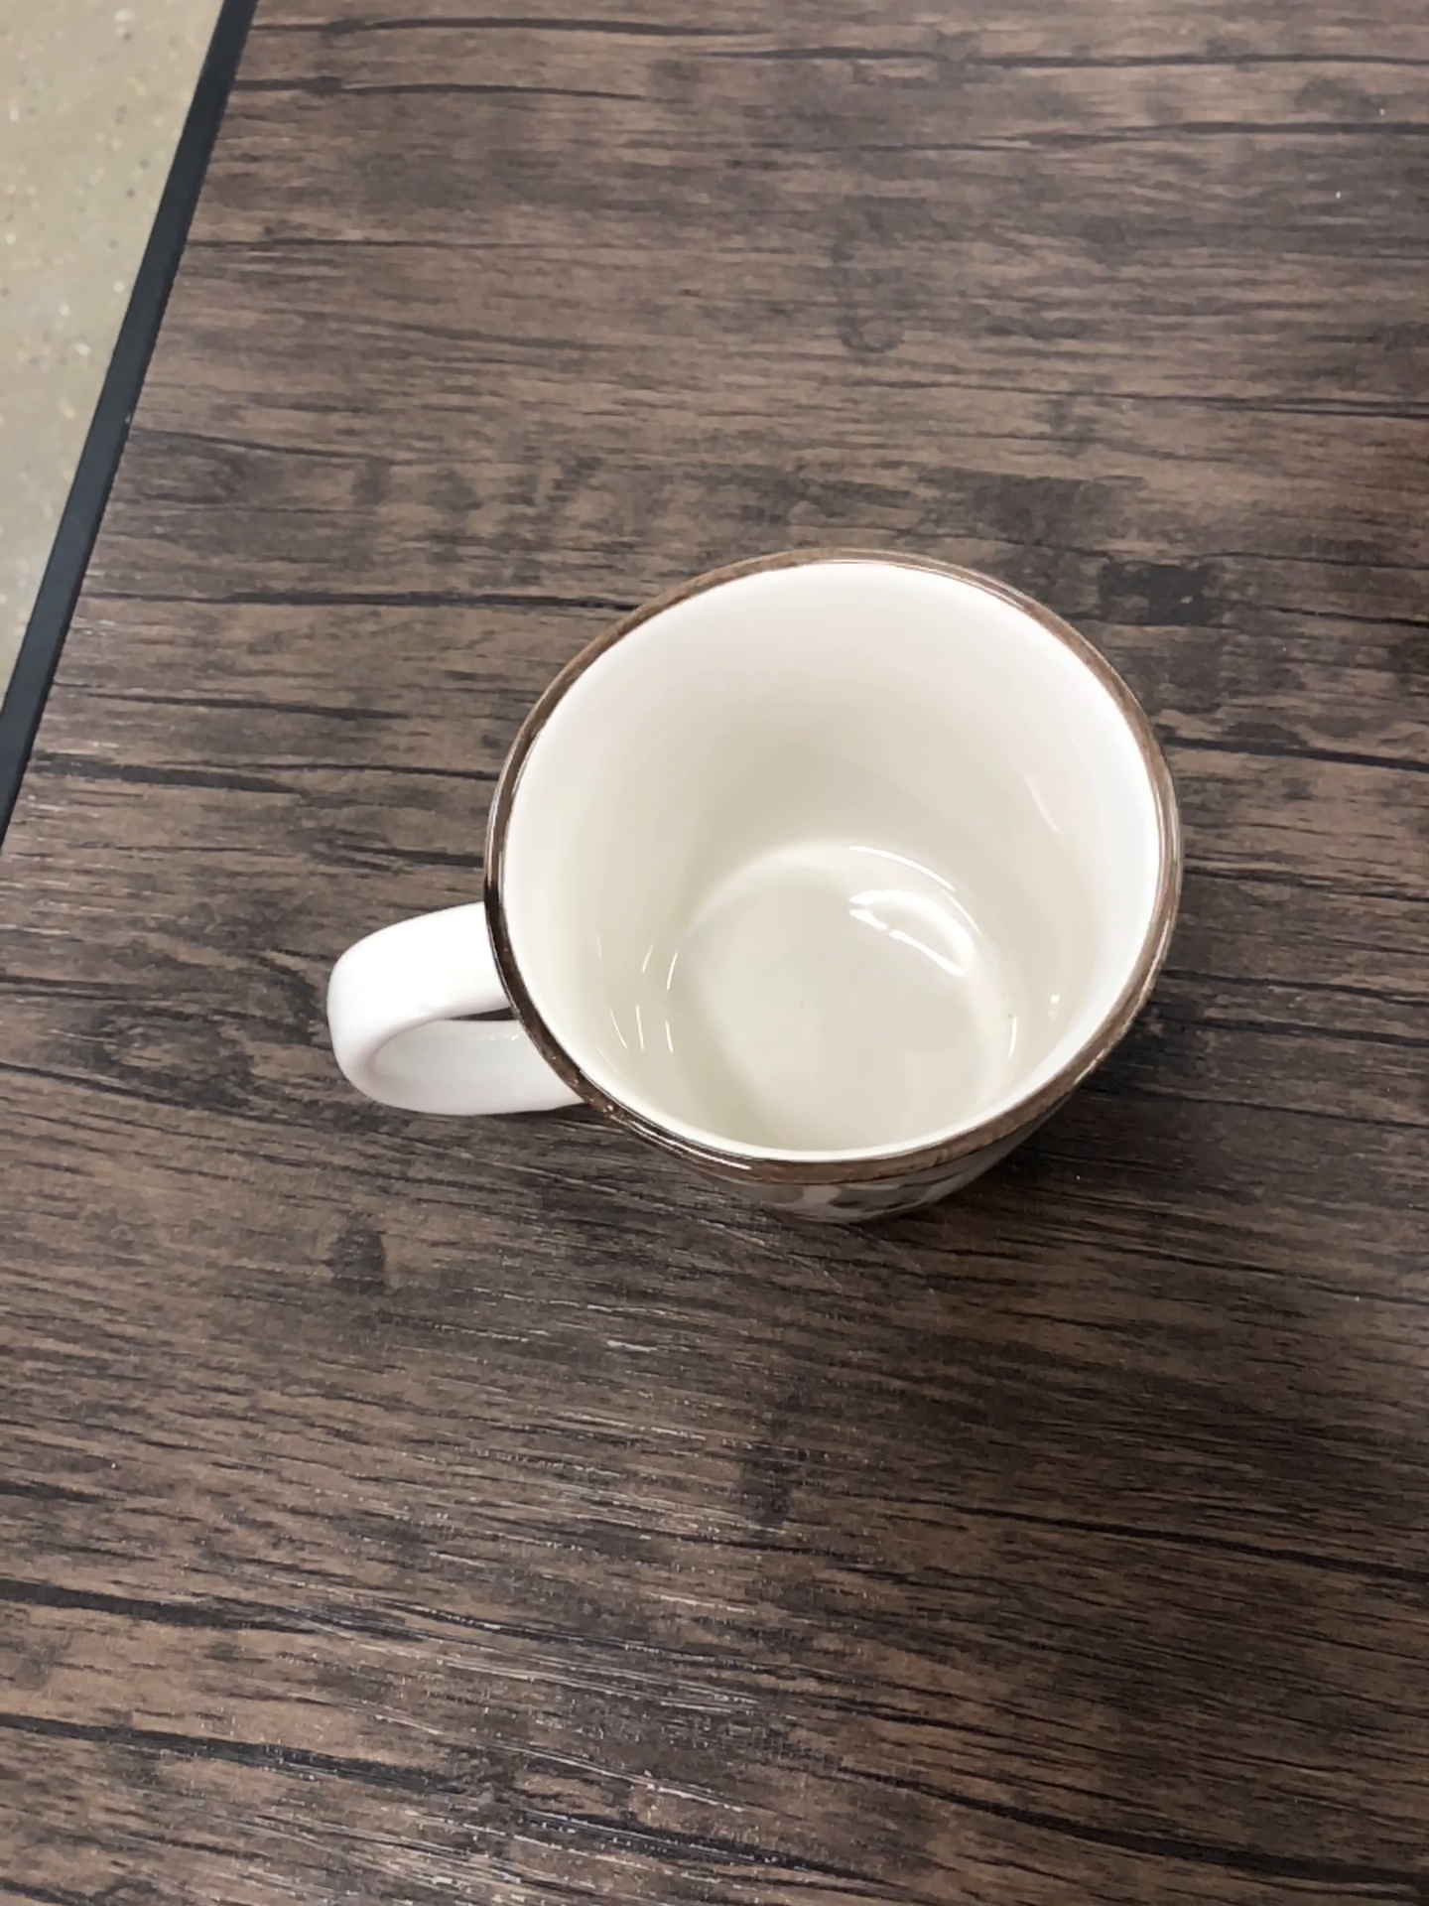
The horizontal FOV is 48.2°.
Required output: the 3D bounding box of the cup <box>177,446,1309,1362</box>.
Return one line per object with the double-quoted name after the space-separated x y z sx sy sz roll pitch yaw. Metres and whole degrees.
0.003 0.002 0.290 0.150 0.110 0.100 -14 71 1 "cup"
